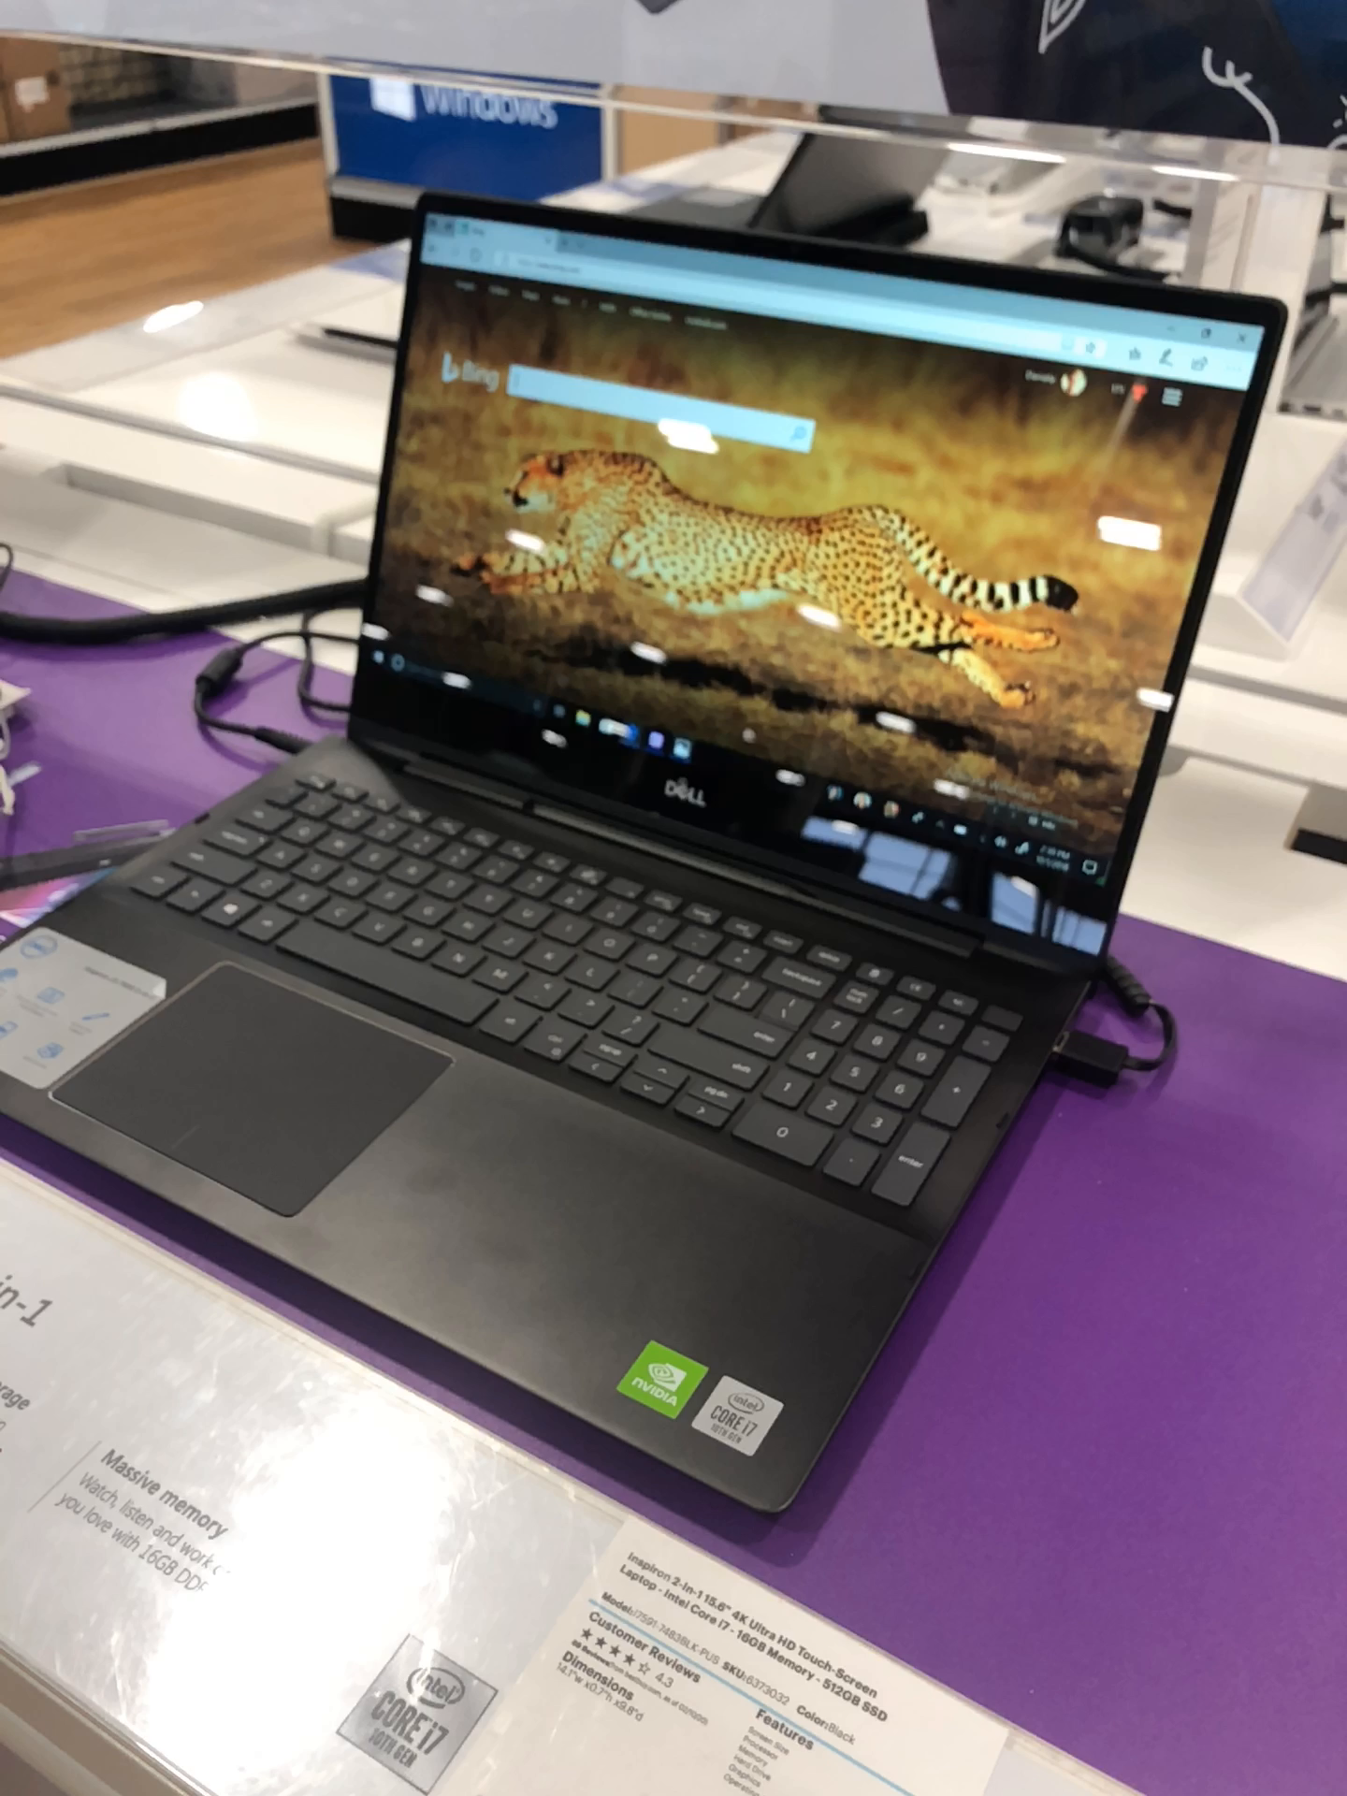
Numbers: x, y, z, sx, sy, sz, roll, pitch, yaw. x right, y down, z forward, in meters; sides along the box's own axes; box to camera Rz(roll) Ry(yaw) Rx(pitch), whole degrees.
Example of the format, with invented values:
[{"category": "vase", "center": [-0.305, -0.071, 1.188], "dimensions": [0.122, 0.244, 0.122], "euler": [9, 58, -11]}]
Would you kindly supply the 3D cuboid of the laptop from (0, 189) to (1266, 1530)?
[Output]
[{"category": "laptop", "center": [-0.046, -0.069, 0.477], "dimensions": [0.341, 0.207, 0.325], "euler": [19, 39, 24]}]
